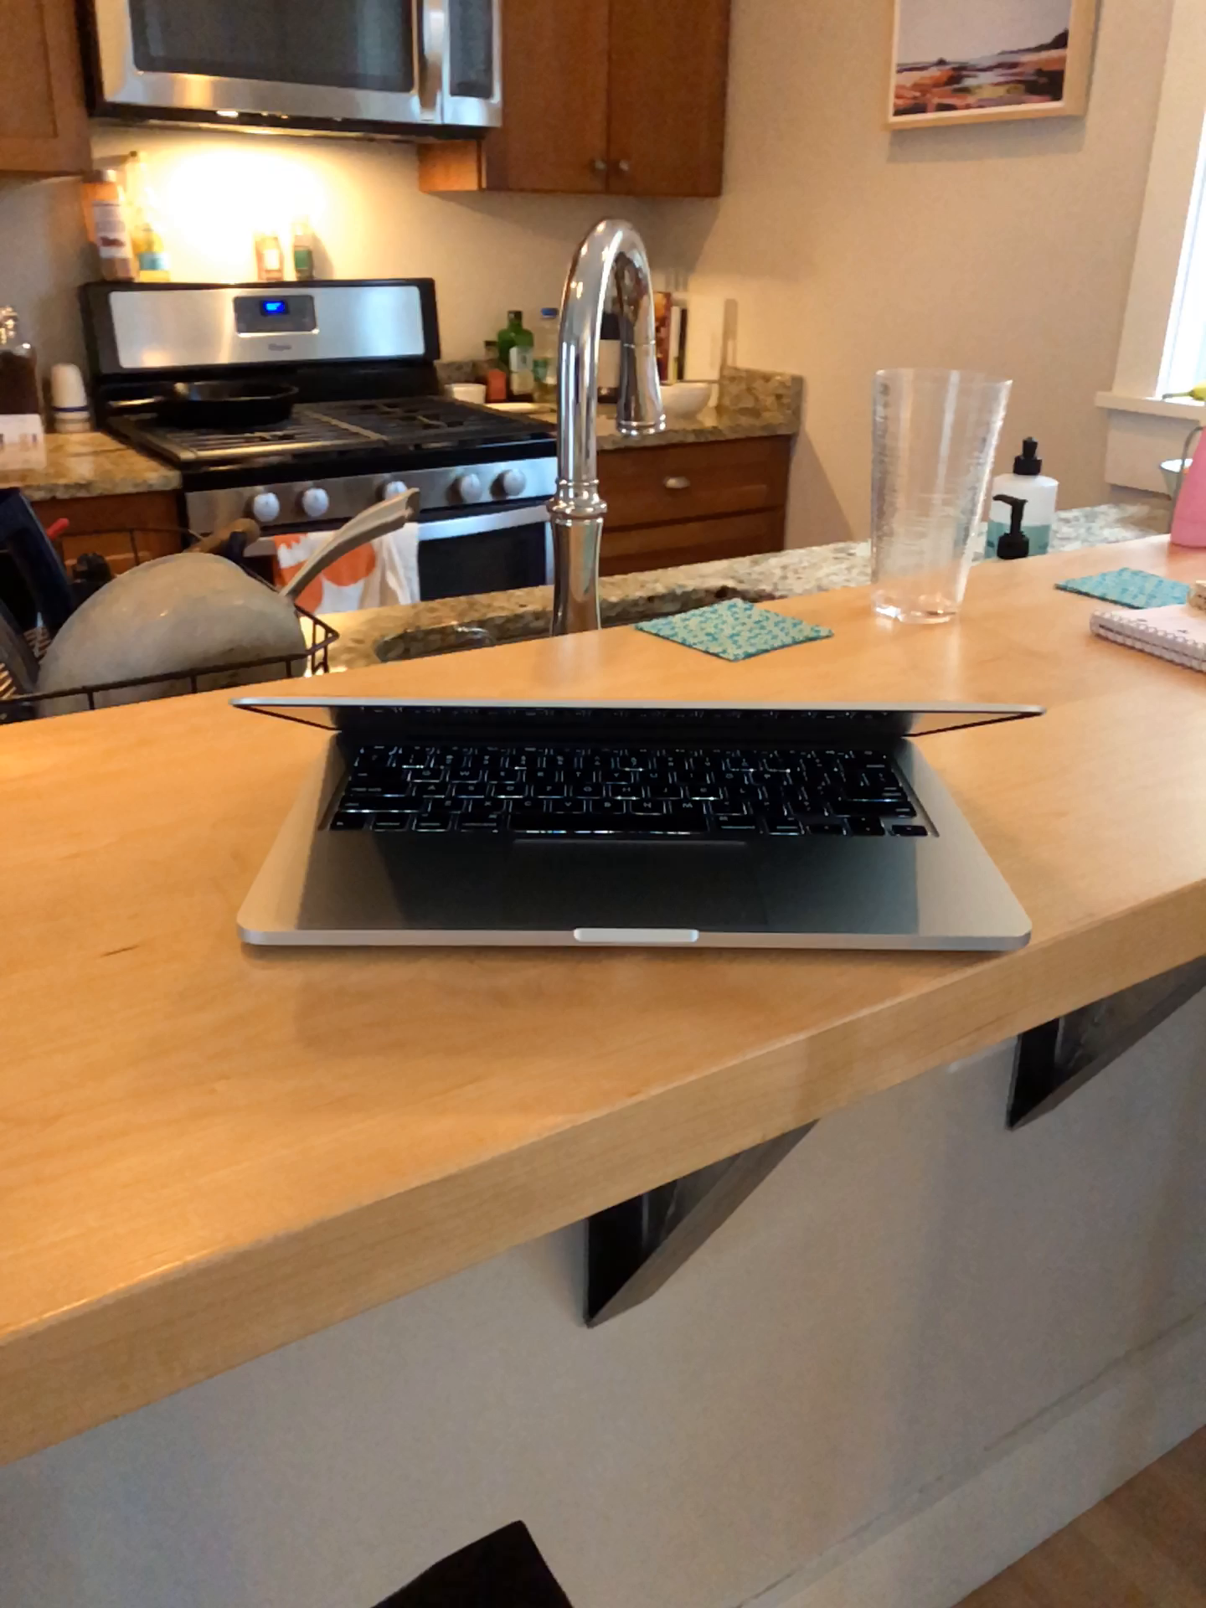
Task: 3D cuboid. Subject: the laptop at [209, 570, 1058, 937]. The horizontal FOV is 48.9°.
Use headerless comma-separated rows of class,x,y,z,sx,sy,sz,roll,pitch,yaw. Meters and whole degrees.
laptop,0.009,-0.033,0.581,0.299,0.084,0.211,1,24,-1
